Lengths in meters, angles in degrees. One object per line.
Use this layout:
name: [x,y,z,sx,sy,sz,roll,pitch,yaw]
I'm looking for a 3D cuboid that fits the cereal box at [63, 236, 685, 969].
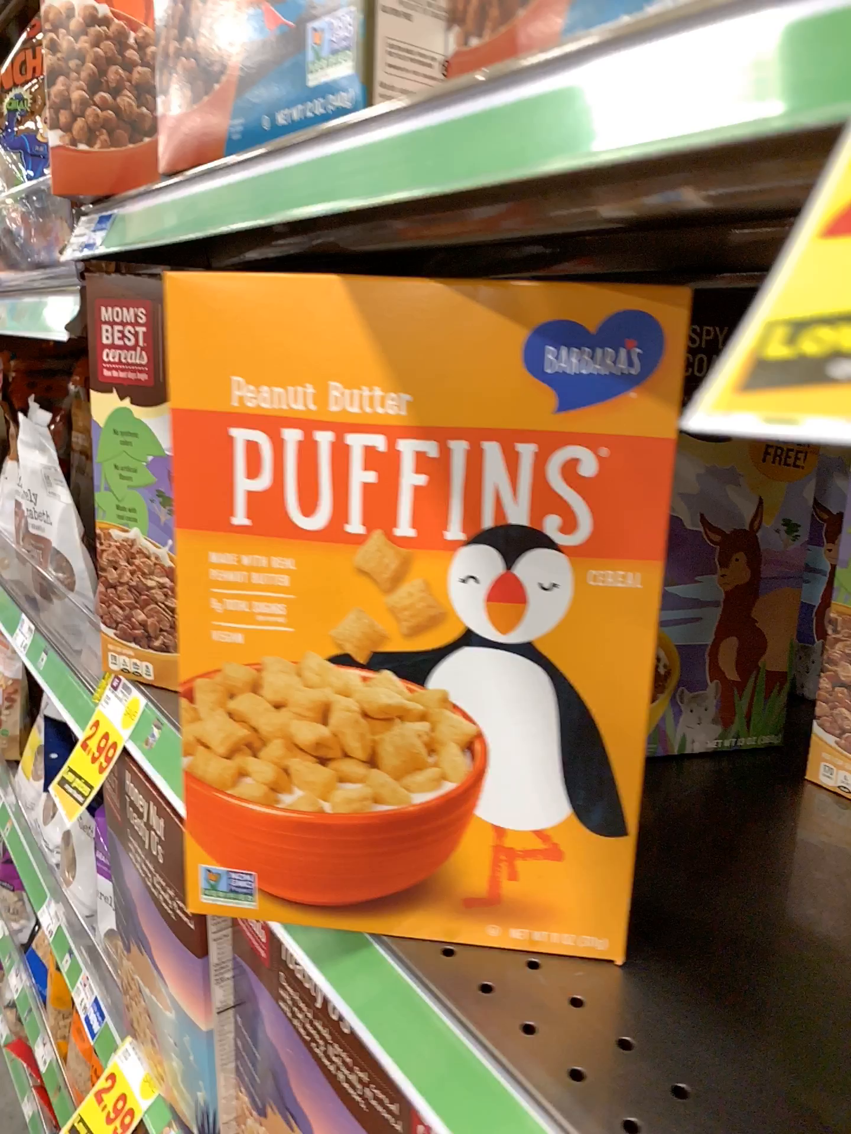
cereal box: [-0.026,0.017,0.368,0.220,0.279,0.060,4,13,4]
